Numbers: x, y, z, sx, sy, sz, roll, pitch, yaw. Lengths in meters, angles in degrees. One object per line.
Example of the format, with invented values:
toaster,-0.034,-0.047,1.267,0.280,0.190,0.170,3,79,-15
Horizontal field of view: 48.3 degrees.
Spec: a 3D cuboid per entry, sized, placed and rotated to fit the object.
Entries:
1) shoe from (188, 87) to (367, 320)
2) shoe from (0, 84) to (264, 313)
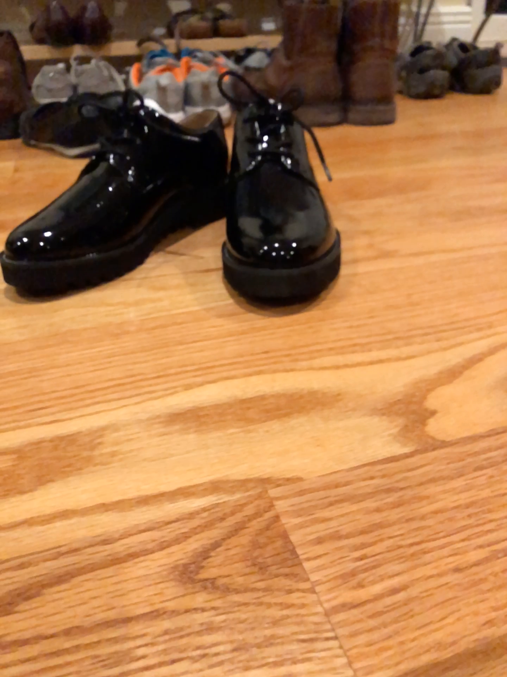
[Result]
shoe,0.020,-0.120,0.434,0.095,0.101,0.252,0,31,3
shoe,-0.102,-0.127,0.445,0.095,0.101,0.252,18,36,30
